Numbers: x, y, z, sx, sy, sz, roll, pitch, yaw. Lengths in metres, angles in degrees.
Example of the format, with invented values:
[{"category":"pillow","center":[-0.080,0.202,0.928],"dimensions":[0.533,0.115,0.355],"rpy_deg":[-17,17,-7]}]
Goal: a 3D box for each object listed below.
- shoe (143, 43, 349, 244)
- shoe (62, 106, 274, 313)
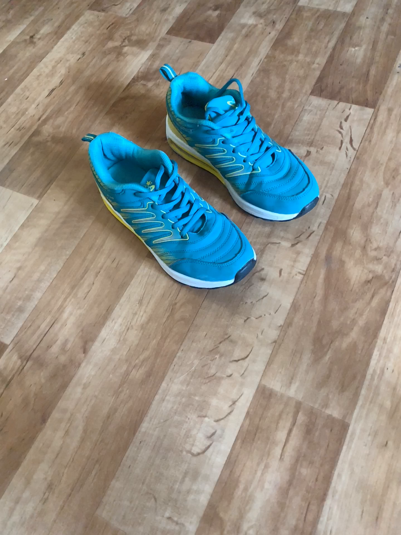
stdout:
[{"category":"shoe","center":[0.050,-0.164,0.536],"dimensions":[0.100,0.120,0.240],"rpy_deg":[-41,65,-15]},{"category":"shoe","center":[-0.038,-0.073,0.498],"dimensions":[0.230,0.120,0.100],"rpy_deg":[37,69,23]}]
